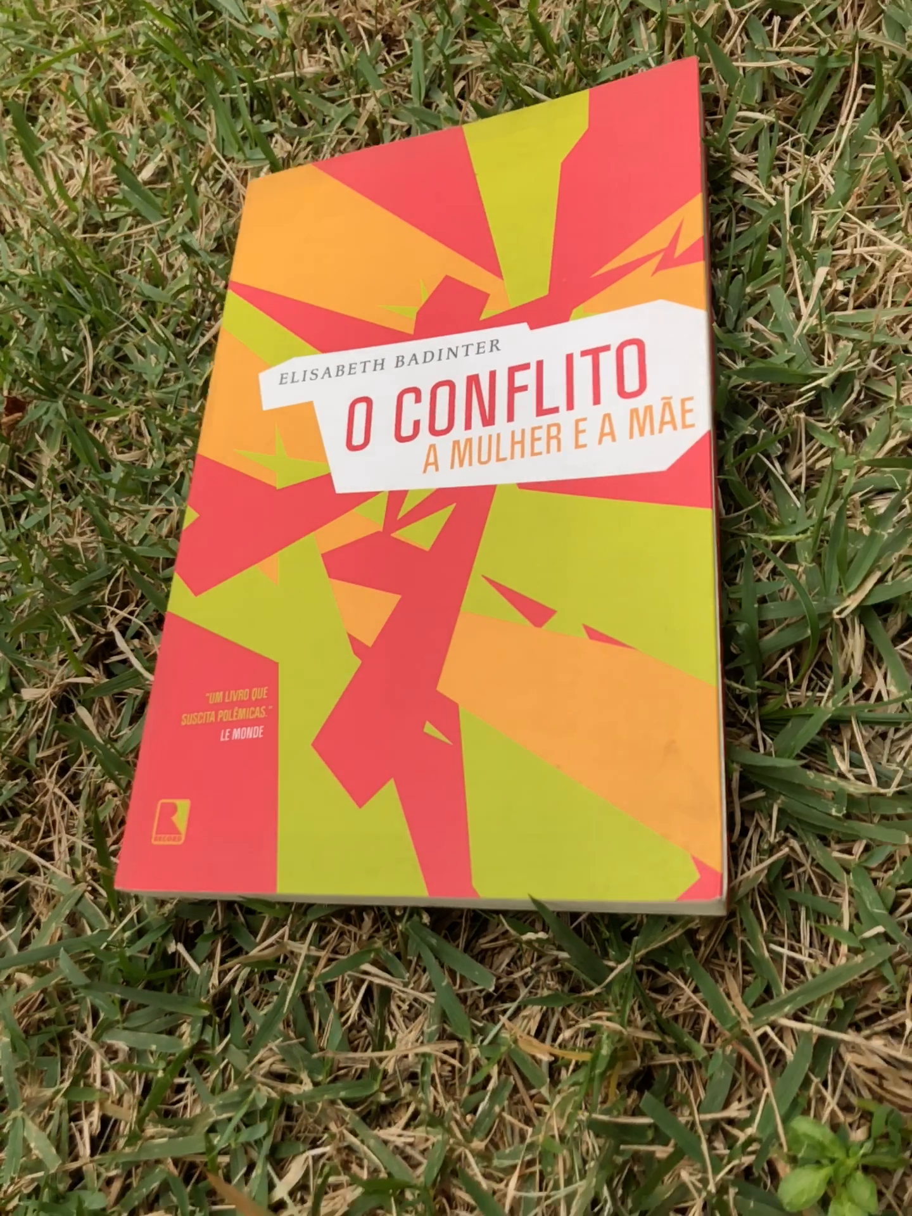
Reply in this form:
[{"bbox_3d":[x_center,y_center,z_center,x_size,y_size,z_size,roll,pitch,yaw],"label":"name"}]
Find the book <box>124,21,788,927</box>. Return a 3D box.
[{"bbox_3d":[0.002,-0.035,0.233,0.130,0.020,0.201,-5,66,23],"label":"book"}]
